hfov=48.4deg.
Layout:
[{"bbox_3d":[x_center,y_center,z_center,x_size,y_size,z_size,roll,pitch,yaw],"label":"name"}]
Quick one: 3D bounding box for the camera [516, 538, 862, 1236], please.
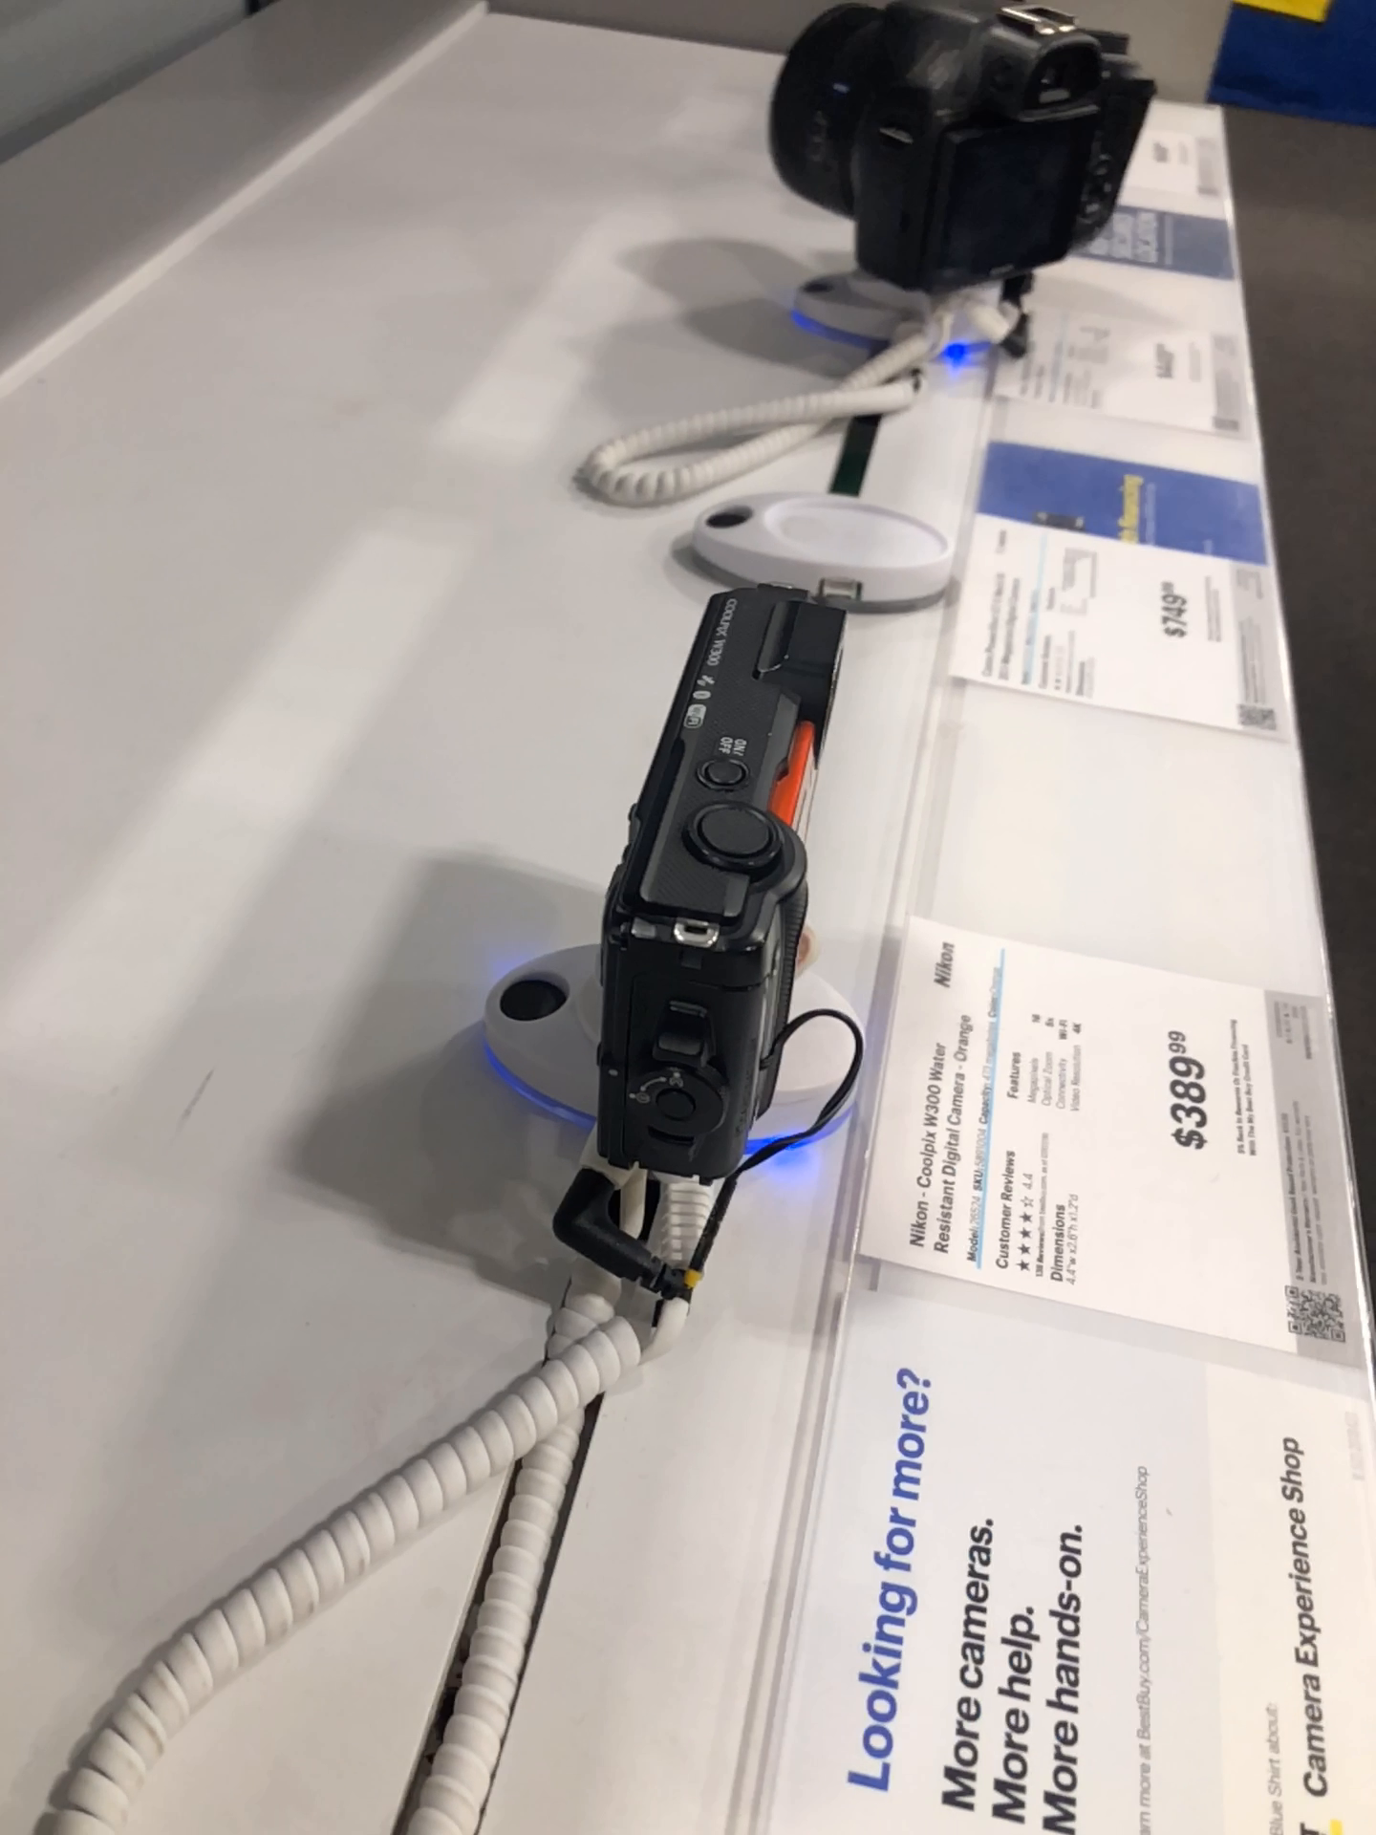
[{"bbox_3d":[0.003,-0.011,0.283,0.040,0.060,0.121,9,43,4],"label":"camera"}]
